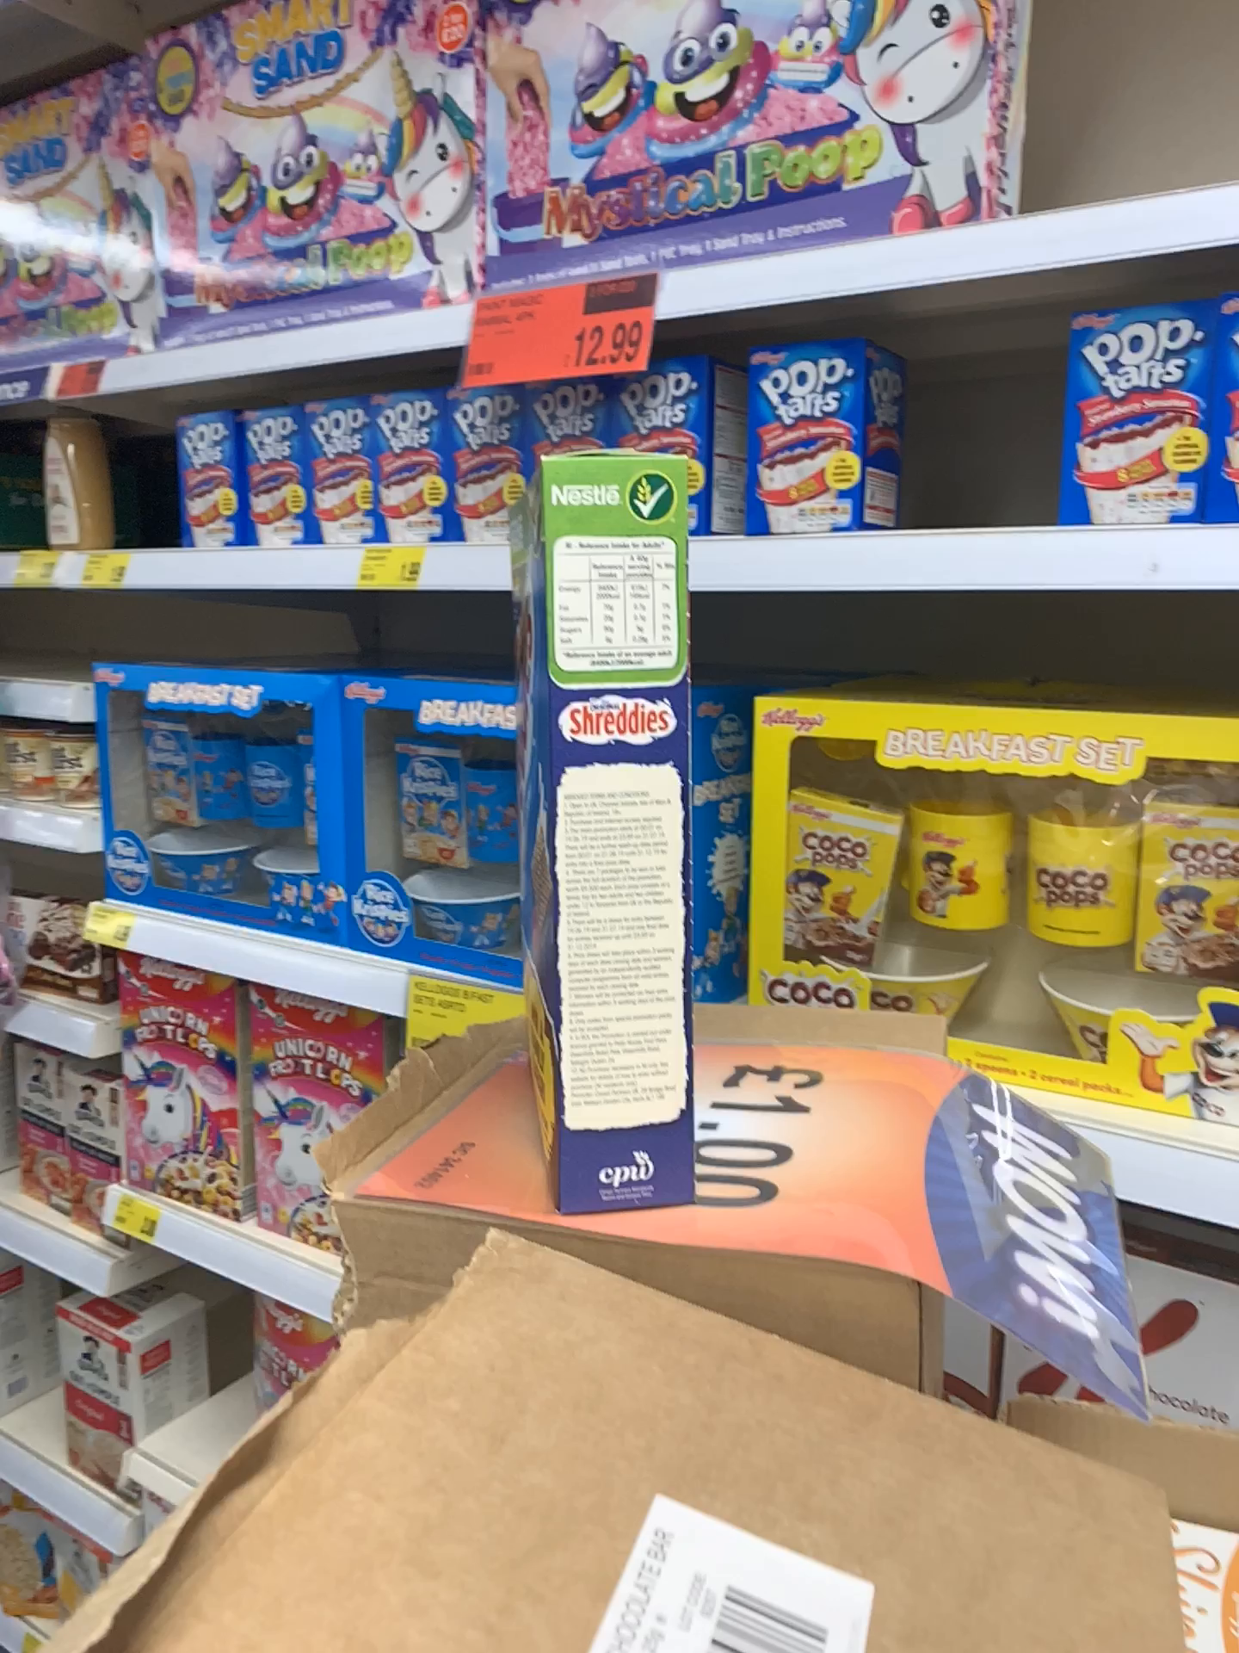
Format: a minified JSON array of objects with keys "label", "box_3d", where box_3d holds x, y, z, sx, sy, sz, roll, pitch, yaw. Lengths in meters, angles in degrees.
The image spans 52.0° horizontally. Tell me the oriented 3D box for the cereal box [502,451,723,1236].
[{"label":"cereal box","box_3d":[-0.010,-0.005,0.540,0.070,0.269,0.211,-2,7,-6]}]
